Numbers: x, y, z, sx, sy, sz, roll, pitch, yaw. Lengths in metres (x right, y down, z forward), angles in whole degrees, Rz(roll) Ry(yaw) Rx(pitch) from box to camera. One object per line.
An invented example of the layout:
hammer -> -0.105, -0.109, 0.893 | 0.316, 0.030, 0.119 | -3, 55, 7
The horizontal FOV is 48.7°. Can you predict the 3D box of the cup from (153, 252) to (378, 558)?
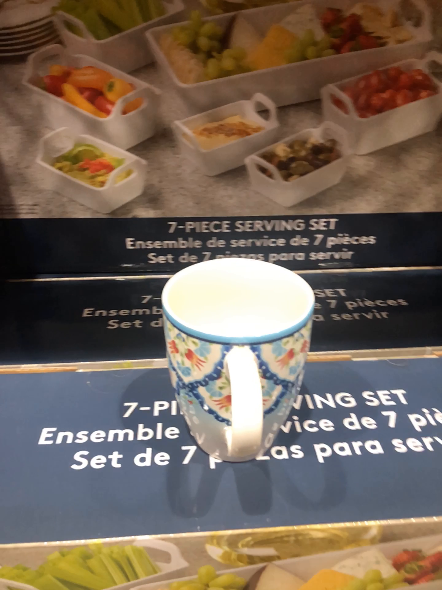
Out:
cup -> 0.012, 0.049, 0.274 | 0.089, 0.096, 0.137 | -2, 29, -4
